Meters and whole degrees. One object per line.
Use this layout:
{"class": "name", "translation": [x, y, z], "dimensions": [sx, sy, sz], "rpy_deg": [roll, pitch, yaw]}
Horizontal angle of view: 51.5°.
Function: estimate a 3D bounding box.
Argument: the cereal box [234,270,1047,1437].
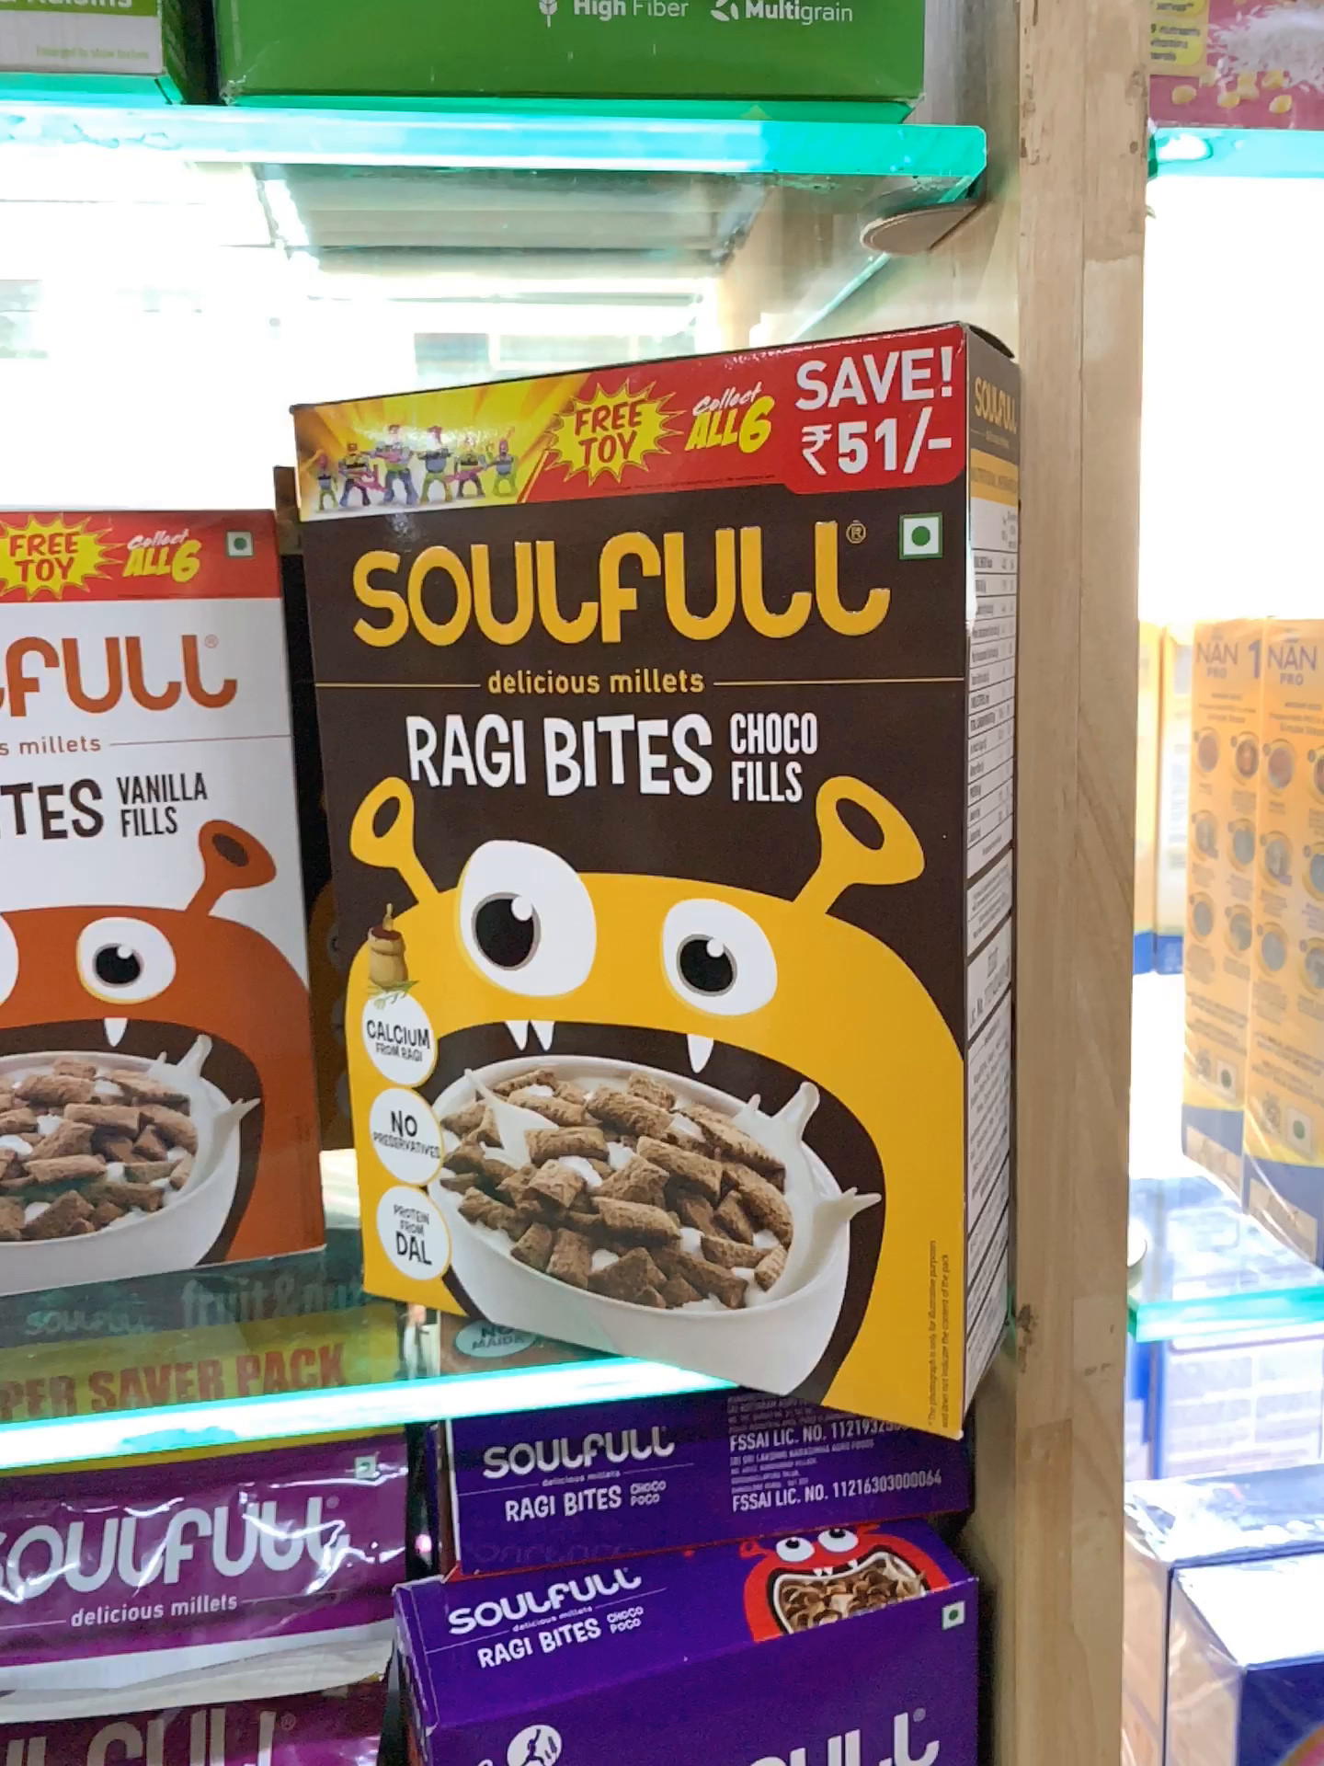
{"class": "cereal box", "translation": [-0.007, -0.008, 0.350], "dimensions": [0.190, 0.239, 0.060], "rpy_deg": [3, 11, 28]}
